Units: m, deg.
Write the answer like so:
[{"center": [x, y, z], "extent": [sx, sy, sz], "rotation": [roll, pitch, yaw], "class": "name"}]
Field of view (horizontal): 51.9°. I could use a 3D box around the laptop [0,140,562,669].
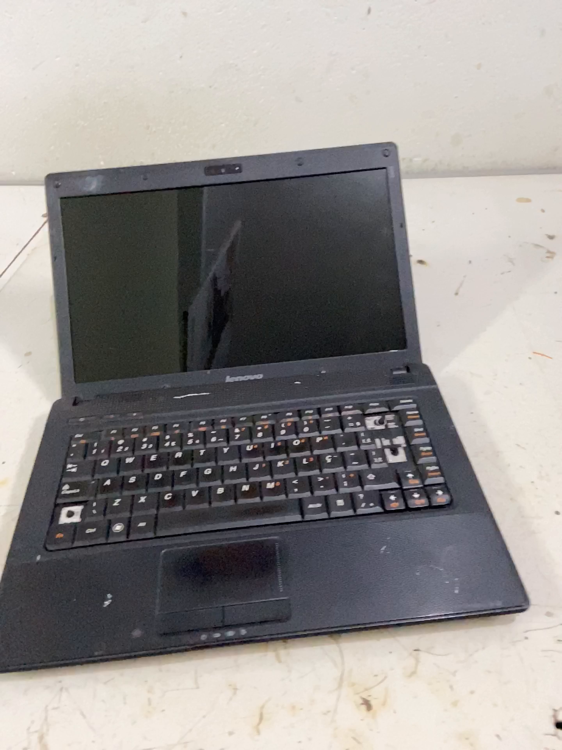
[{"center": [-0.037, -0.028, 0.479], "extent": [0.357, 0.147, 0.424], "rotation": [-6, 42, -2], "class": "laptop"}]
